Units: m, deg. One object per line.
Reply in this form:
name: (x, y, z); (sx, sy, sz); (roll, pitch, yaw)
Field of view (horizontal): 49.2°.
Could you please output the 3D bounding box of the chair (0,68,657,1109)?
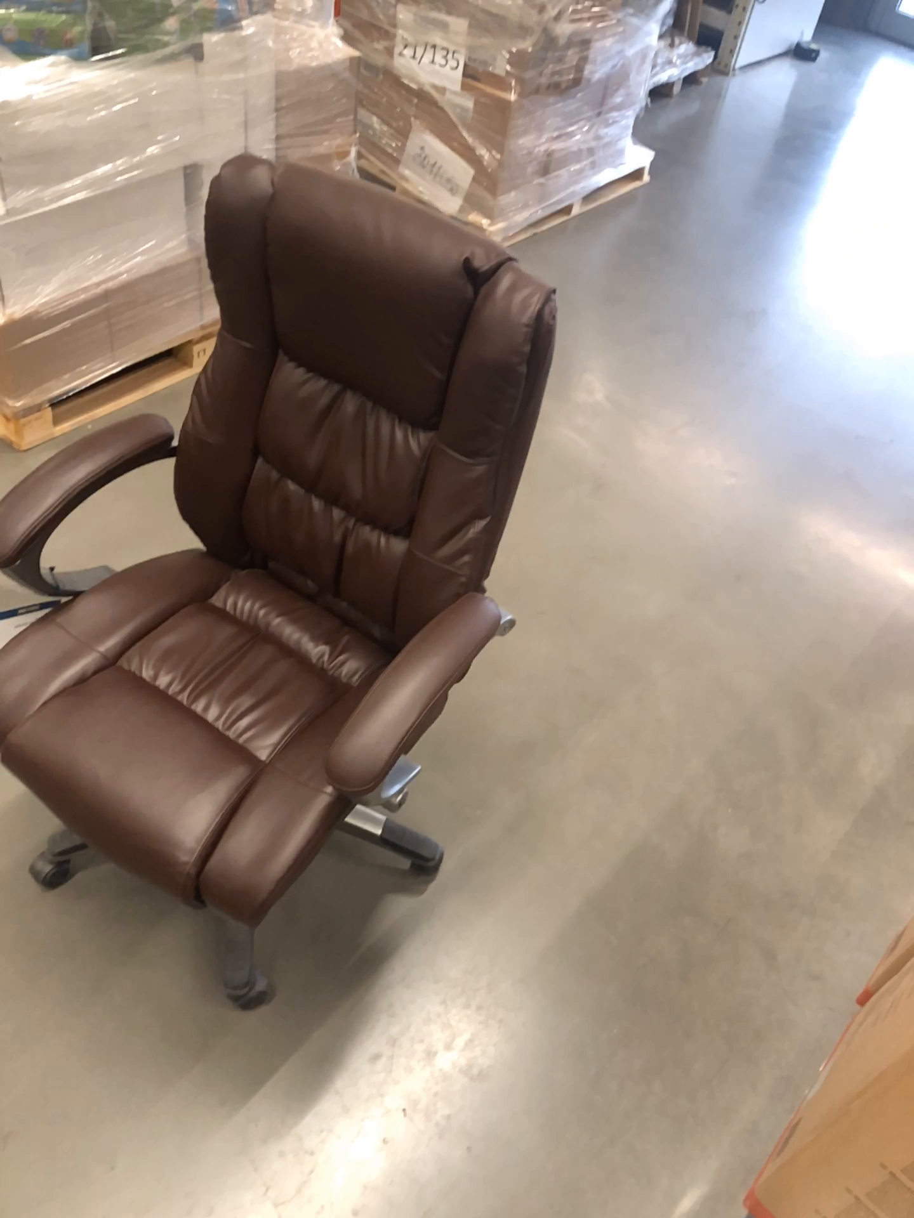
chair: (-0.320, 0.005, 1.381); (0.681, 1.093, 0.654); (31, 47, 18)
